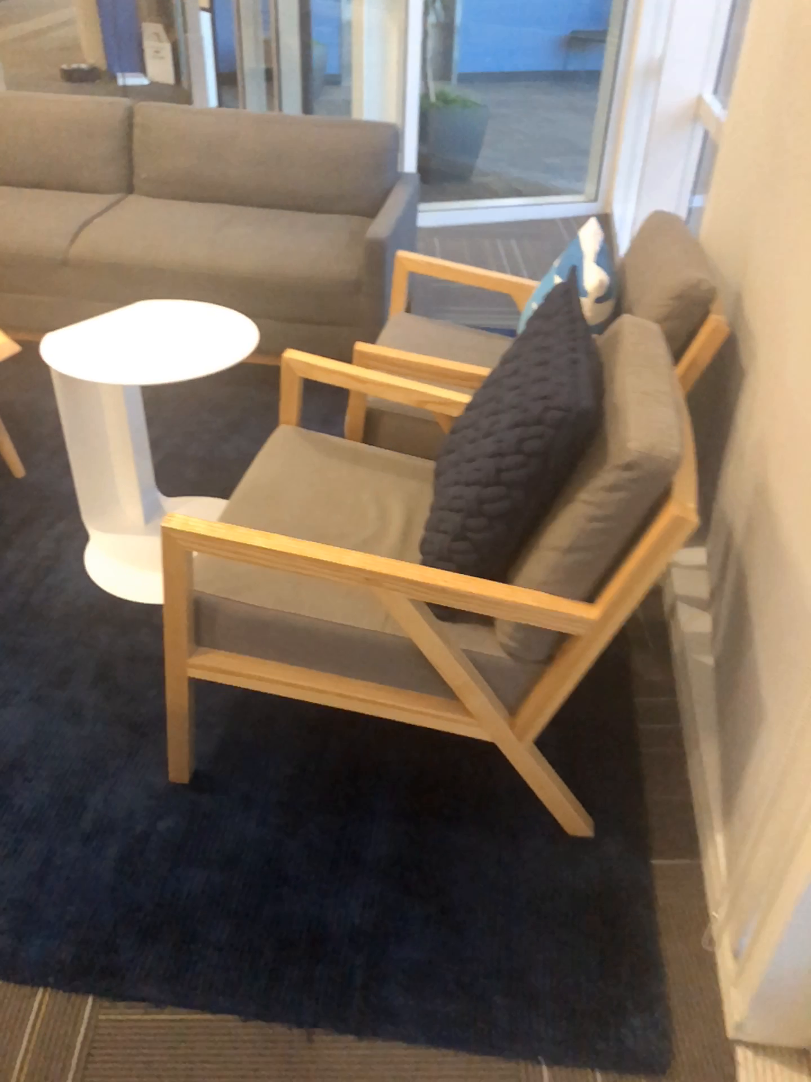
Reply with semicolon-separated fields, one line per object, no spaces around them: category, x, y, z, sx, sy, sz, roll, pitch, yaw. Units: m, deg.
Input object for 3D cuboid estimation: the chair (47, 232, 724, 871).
chair;0.007;-0.029;1.622;0.850;0.773;0.747;7;35;7
